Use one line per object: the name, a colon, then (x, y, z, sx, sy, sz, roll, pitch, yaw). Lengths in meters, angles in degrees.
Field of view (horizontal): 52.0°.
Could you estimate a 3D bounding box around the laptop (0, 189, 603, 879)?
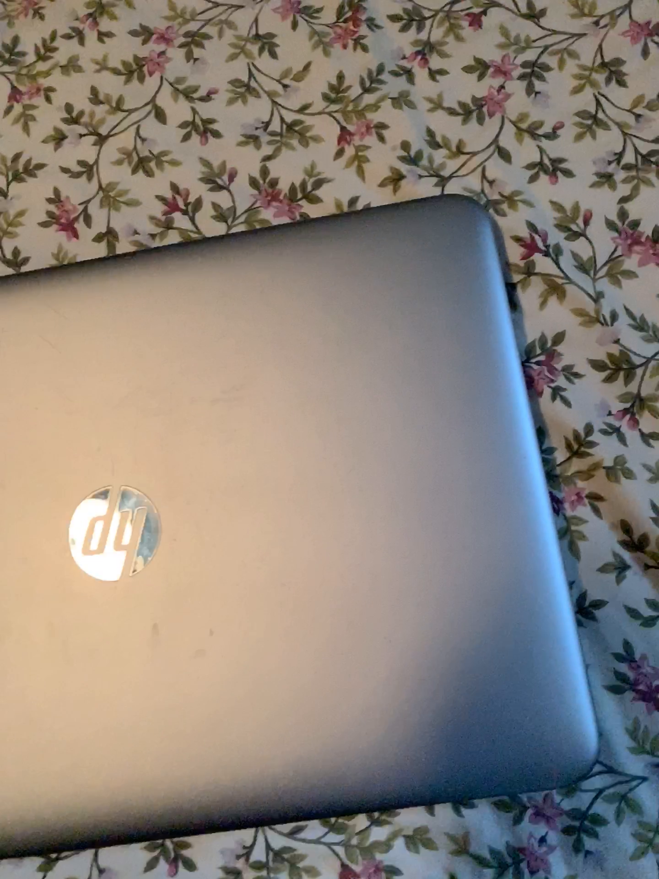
laptop: (-0.087, 0.034, 0.275, 0.336, 0.010, 0.228, -10, 78, 3)
